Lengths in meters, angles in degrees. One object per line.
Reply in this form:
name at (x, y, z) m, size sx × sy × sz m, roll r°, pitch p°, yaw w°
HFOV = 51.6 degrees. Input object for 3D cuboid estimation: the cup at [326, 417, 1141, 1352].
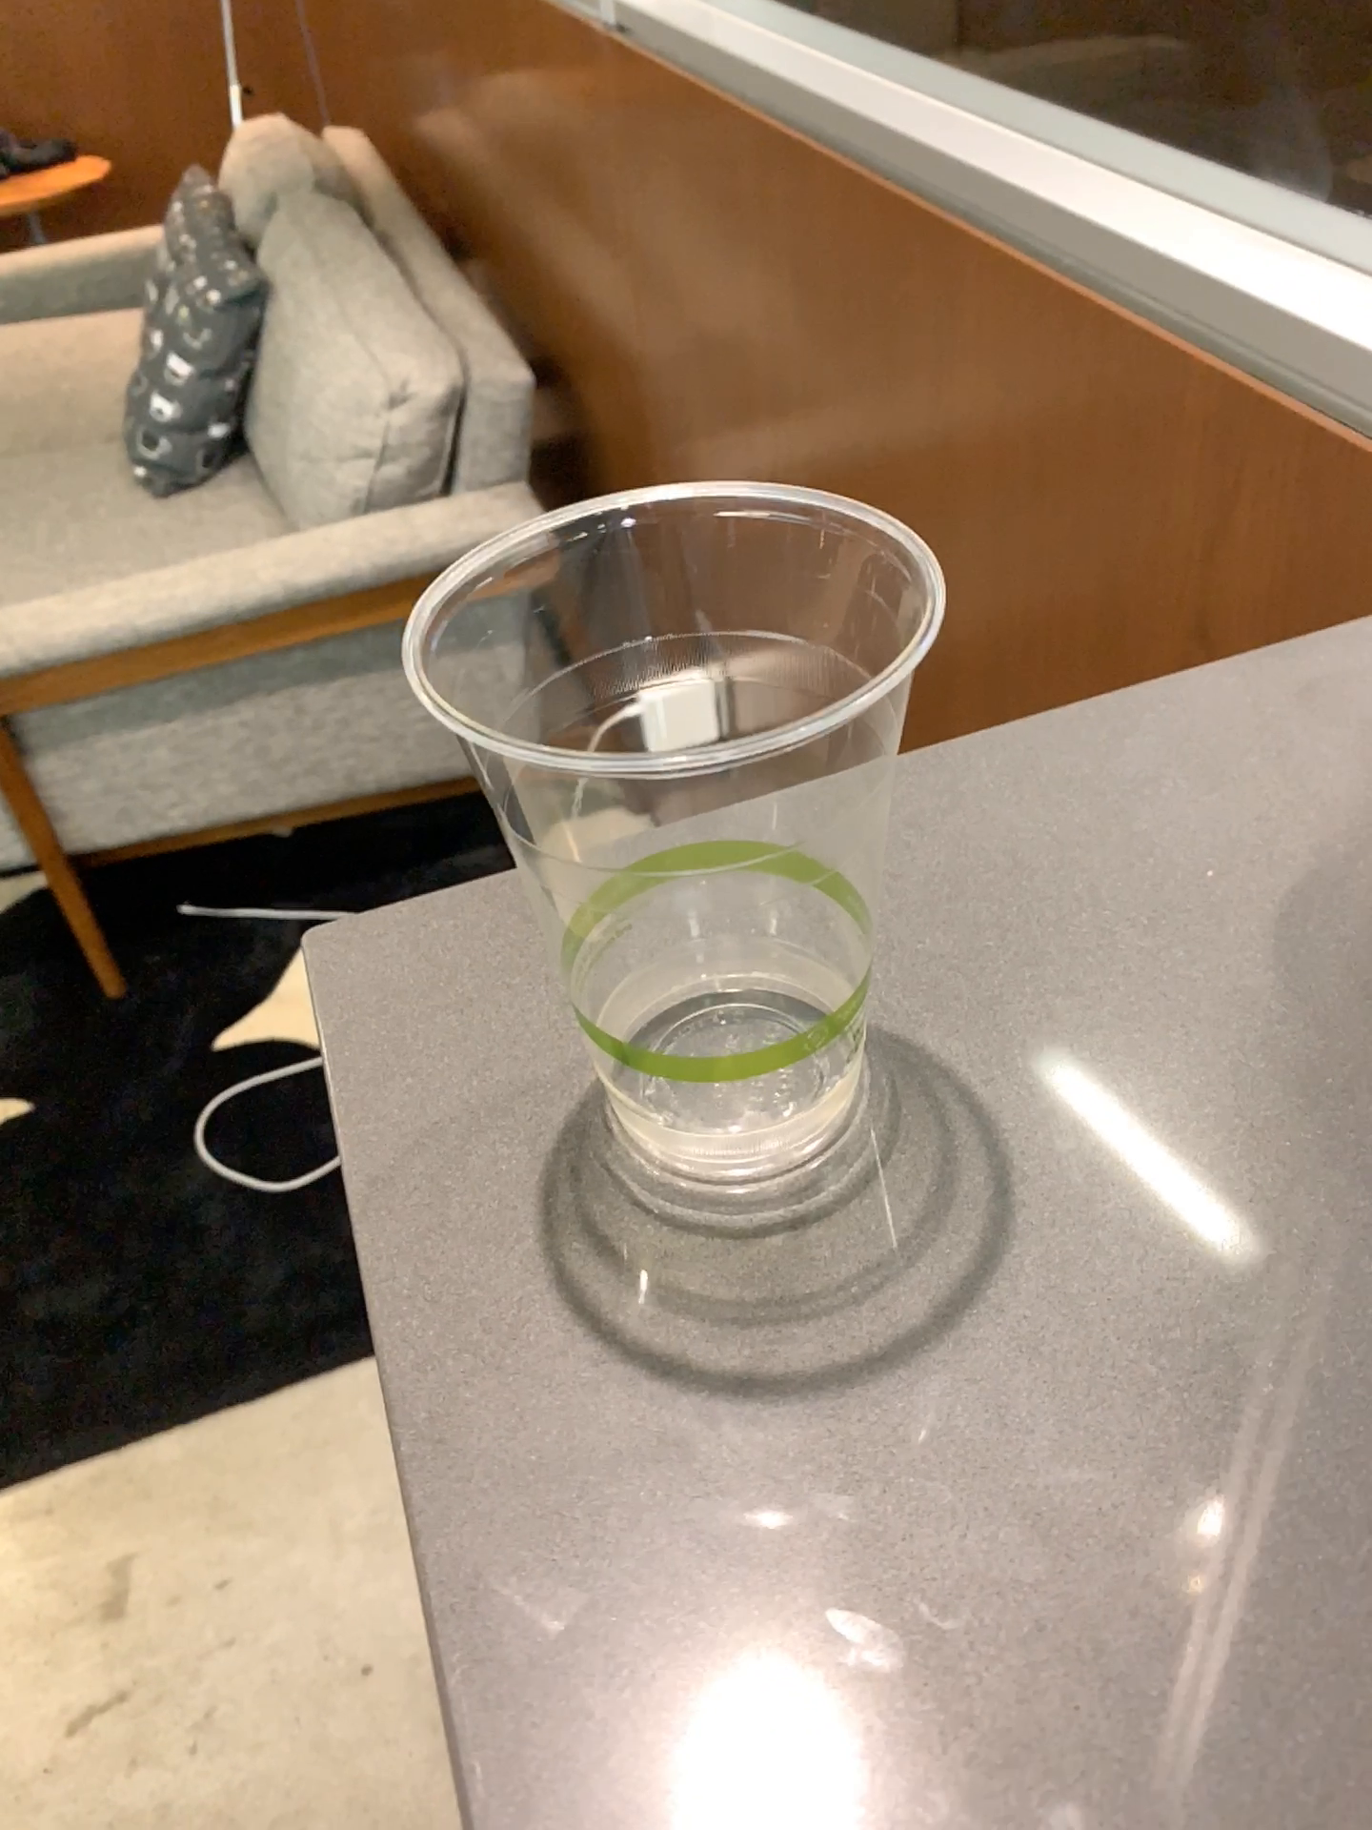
cup at (0.008, -0.009, 0.275) m, size 0.100 × 0.119 × 0.101 m, roll -4°, pitch 41°, yaw 4°
